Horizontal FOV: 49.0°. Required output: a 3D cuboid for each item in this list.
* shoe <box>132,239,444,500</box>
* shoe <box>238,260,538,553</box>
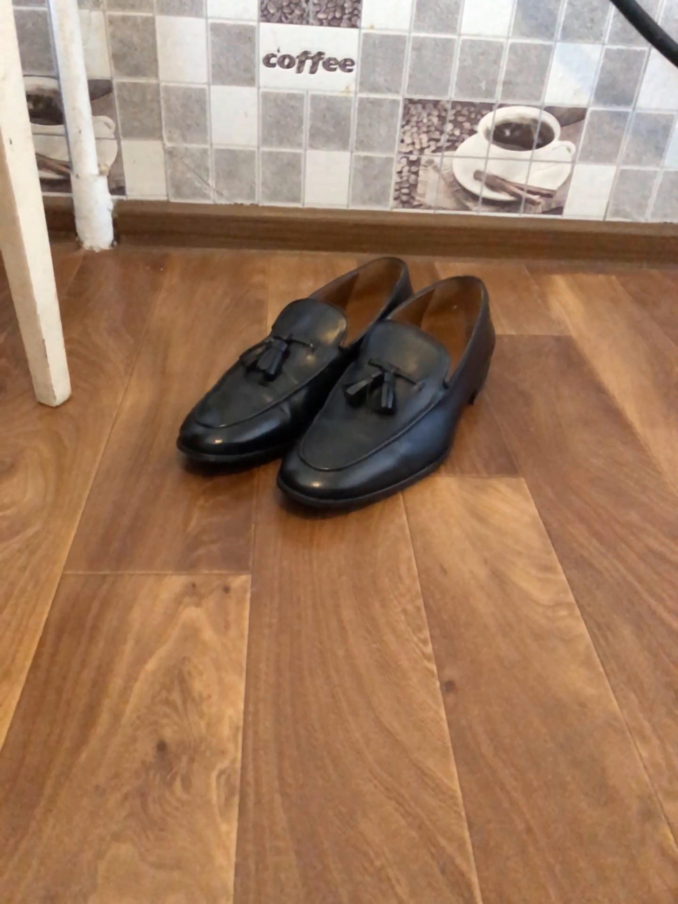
[{"bbox_3d":[-0.023,-0.077,0.549,0.100,0.068,0.254,21,39,22],"label":"shoe"},{"bbox_3d":[0.046,-0.049,0.515,0.100,0.068,0.255,20,39,21],"label":"shoe"}]
